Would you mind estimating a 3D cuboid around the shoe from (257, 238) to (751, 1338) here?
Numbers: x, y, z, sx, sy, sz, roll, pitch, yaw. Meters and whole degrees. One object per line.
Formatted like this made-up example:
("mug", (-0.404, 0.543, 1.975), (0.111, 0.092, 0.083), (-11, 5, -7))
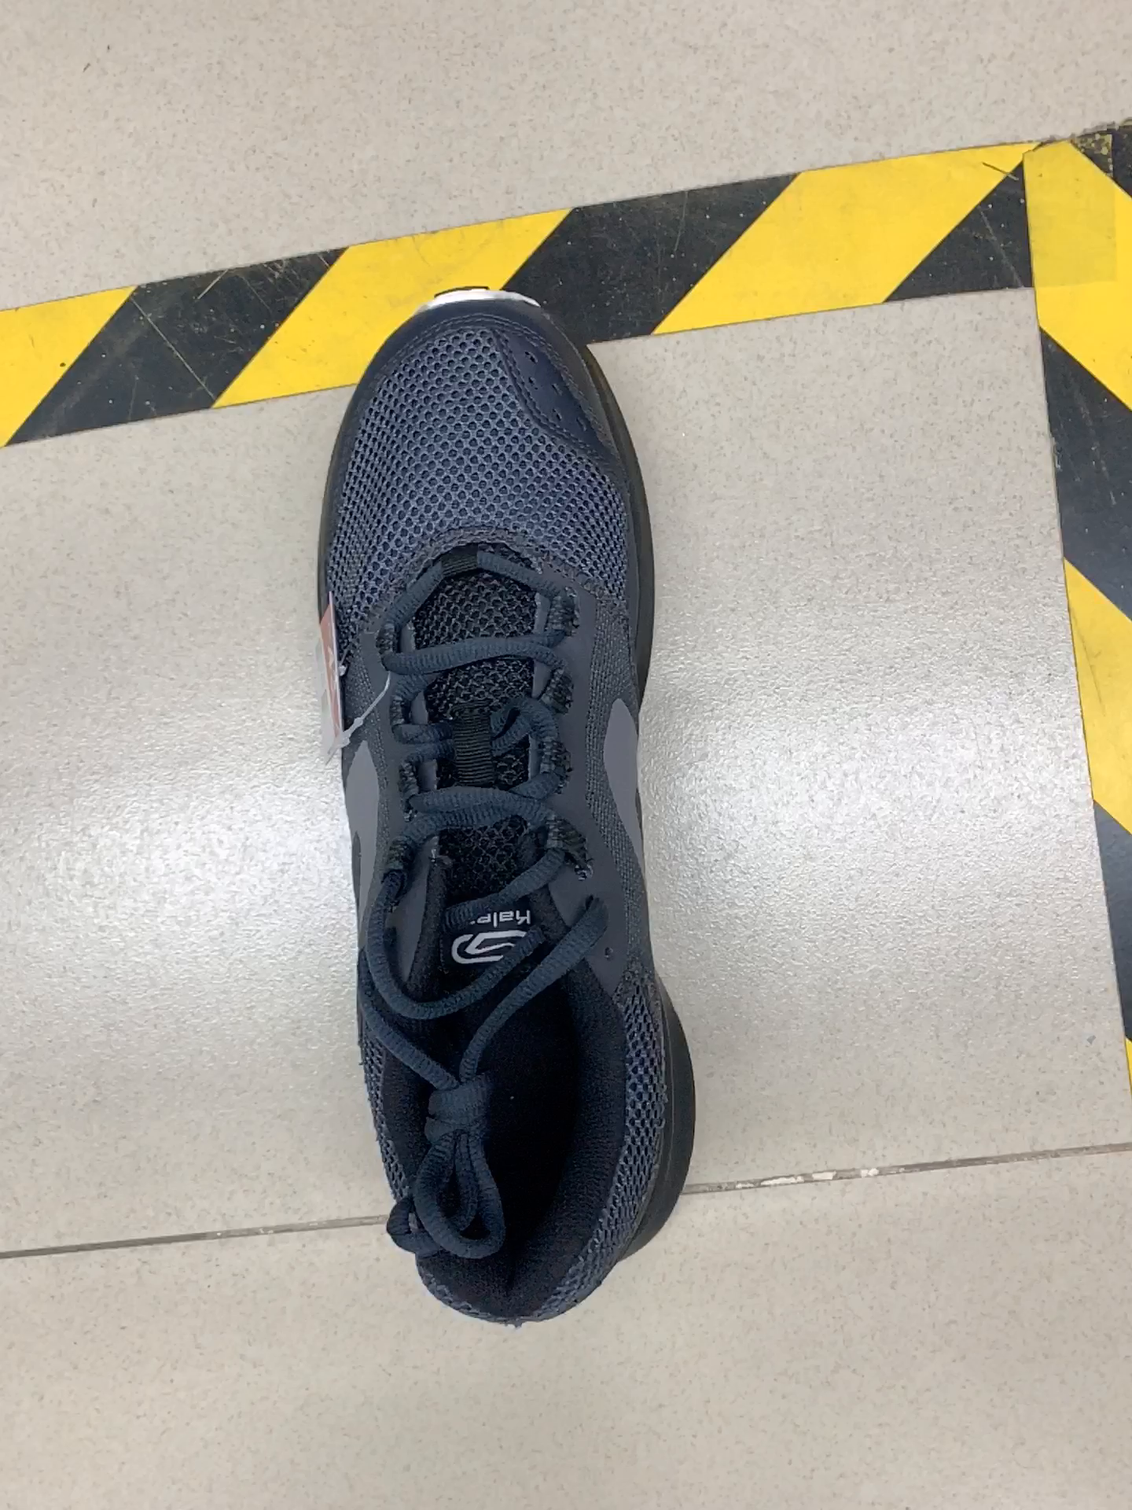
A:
("shoe", (-0.015, 0.010, 0.340), (0.110, 0.070, 0.280), (-4, 89, 5))
